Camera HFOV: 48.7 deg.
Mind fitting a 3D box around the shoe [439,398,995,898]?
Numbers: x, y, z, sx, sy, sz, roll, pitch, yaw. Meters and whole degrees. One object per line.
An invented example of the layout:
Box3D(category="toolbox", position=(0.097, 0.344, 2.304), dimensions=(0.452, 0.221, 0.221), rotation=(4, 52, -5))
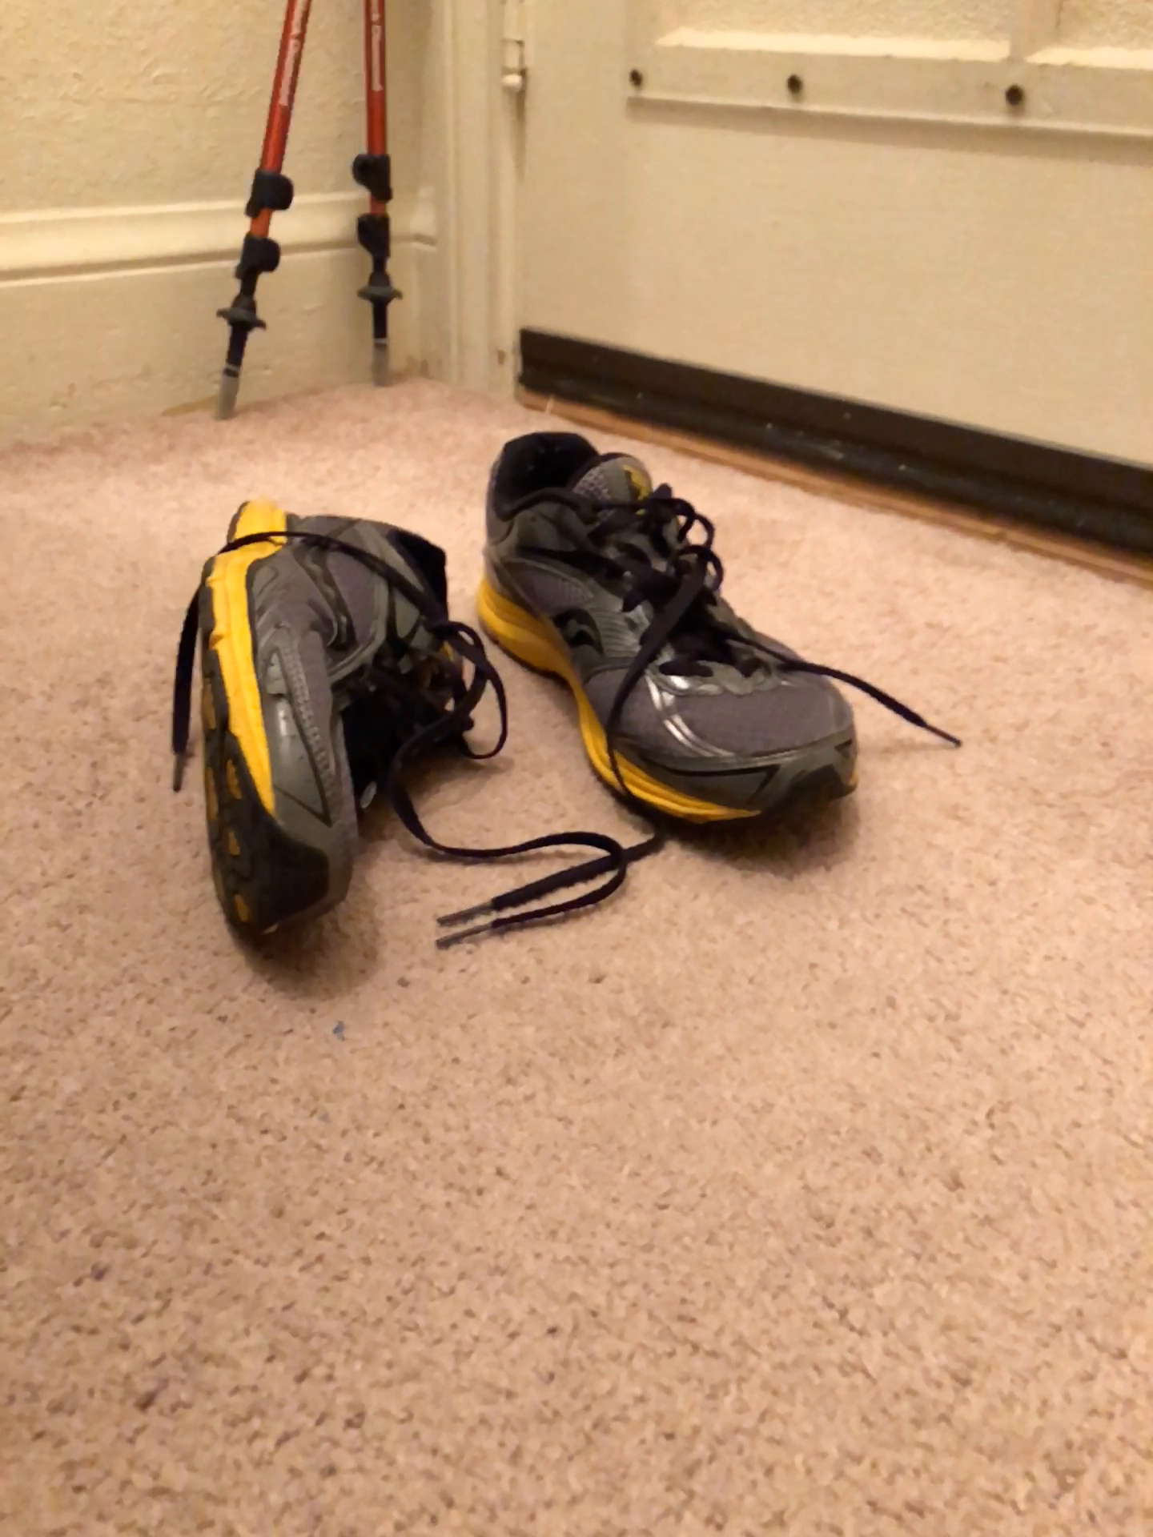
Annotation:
Box3D(category="shoe", position=(0.037, -0.074, 0.560), dimensions=(0.118, 0.098, 0.284), rotation=(-10, 32, -19))

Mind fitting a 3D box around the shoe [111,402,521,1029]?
Box3D(category="shoe", position=(-0.101, -0.047, 0.510), dimensions=(0.109, 0.117, 0.295), rotation=(-6, 31, -9))
